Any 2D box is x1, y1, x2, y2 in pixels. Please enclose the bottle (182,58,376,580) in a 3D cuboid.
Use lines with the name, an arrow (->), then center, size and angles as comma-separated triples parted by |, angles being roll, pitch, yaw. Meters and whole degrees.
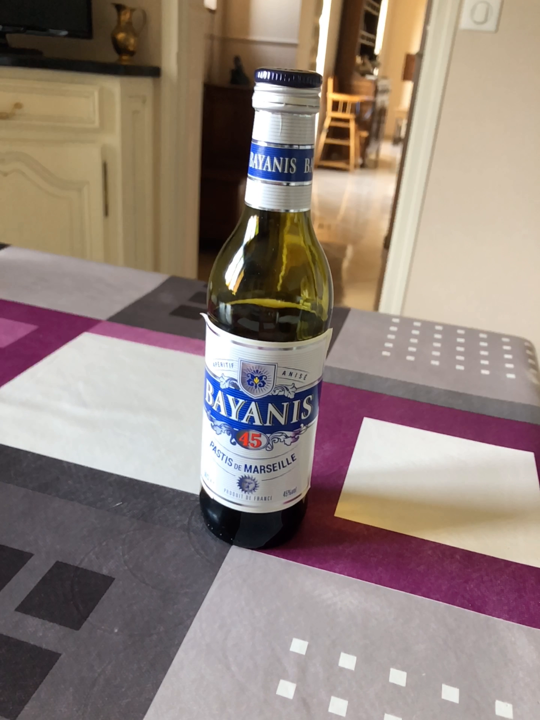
bottle -> 0.000, -0.012, 0.318 | 0.070, 0.259, 0.070 | 4, 25, -2
